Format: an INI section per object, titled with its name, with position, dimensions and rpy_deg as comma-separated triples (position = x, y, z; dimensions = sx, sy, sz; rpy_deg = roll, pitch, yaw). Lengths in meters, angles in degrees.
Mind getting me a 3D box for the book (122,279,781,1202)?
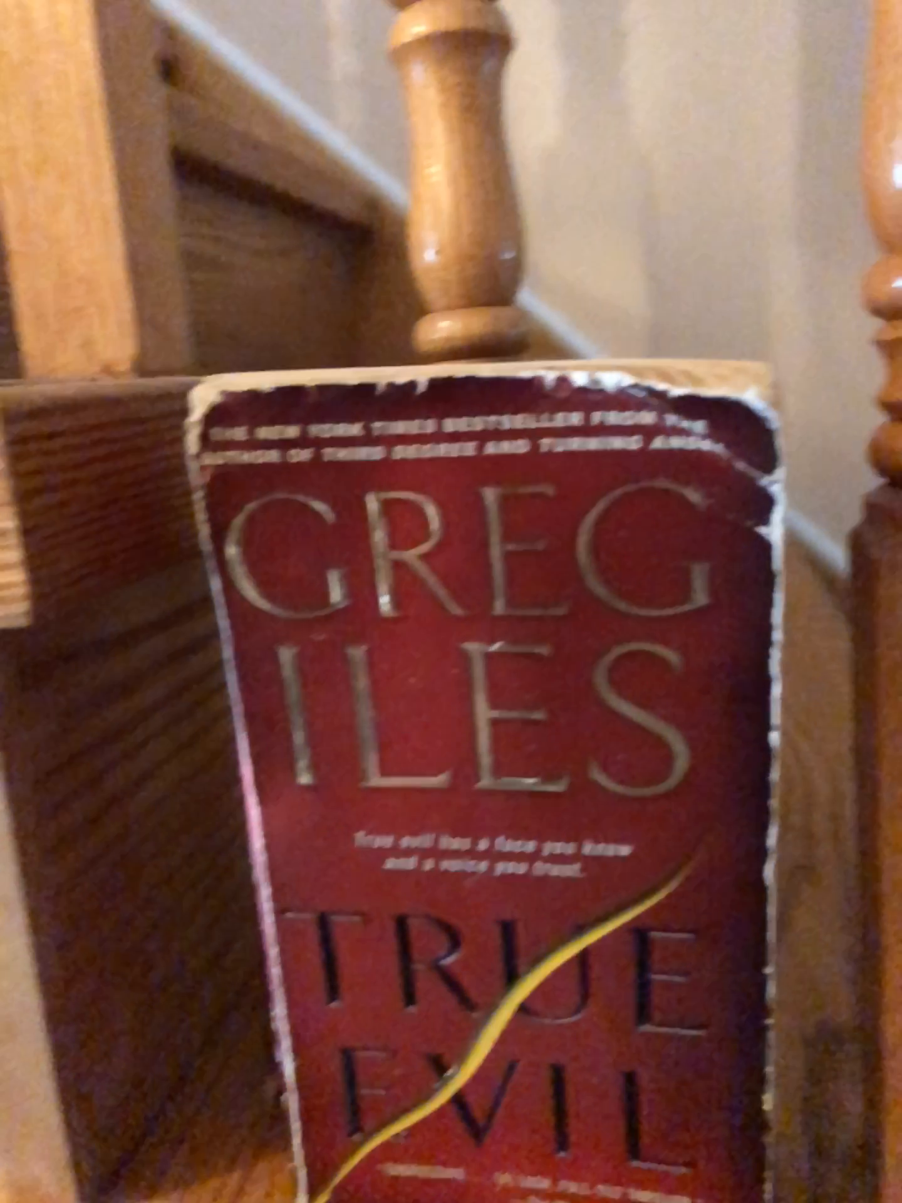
[book]
position = 0.010, 0.039, 0.237
dimensions = 0.120, 0.205, 0.068
rpy_deg = -2, 12, 13
